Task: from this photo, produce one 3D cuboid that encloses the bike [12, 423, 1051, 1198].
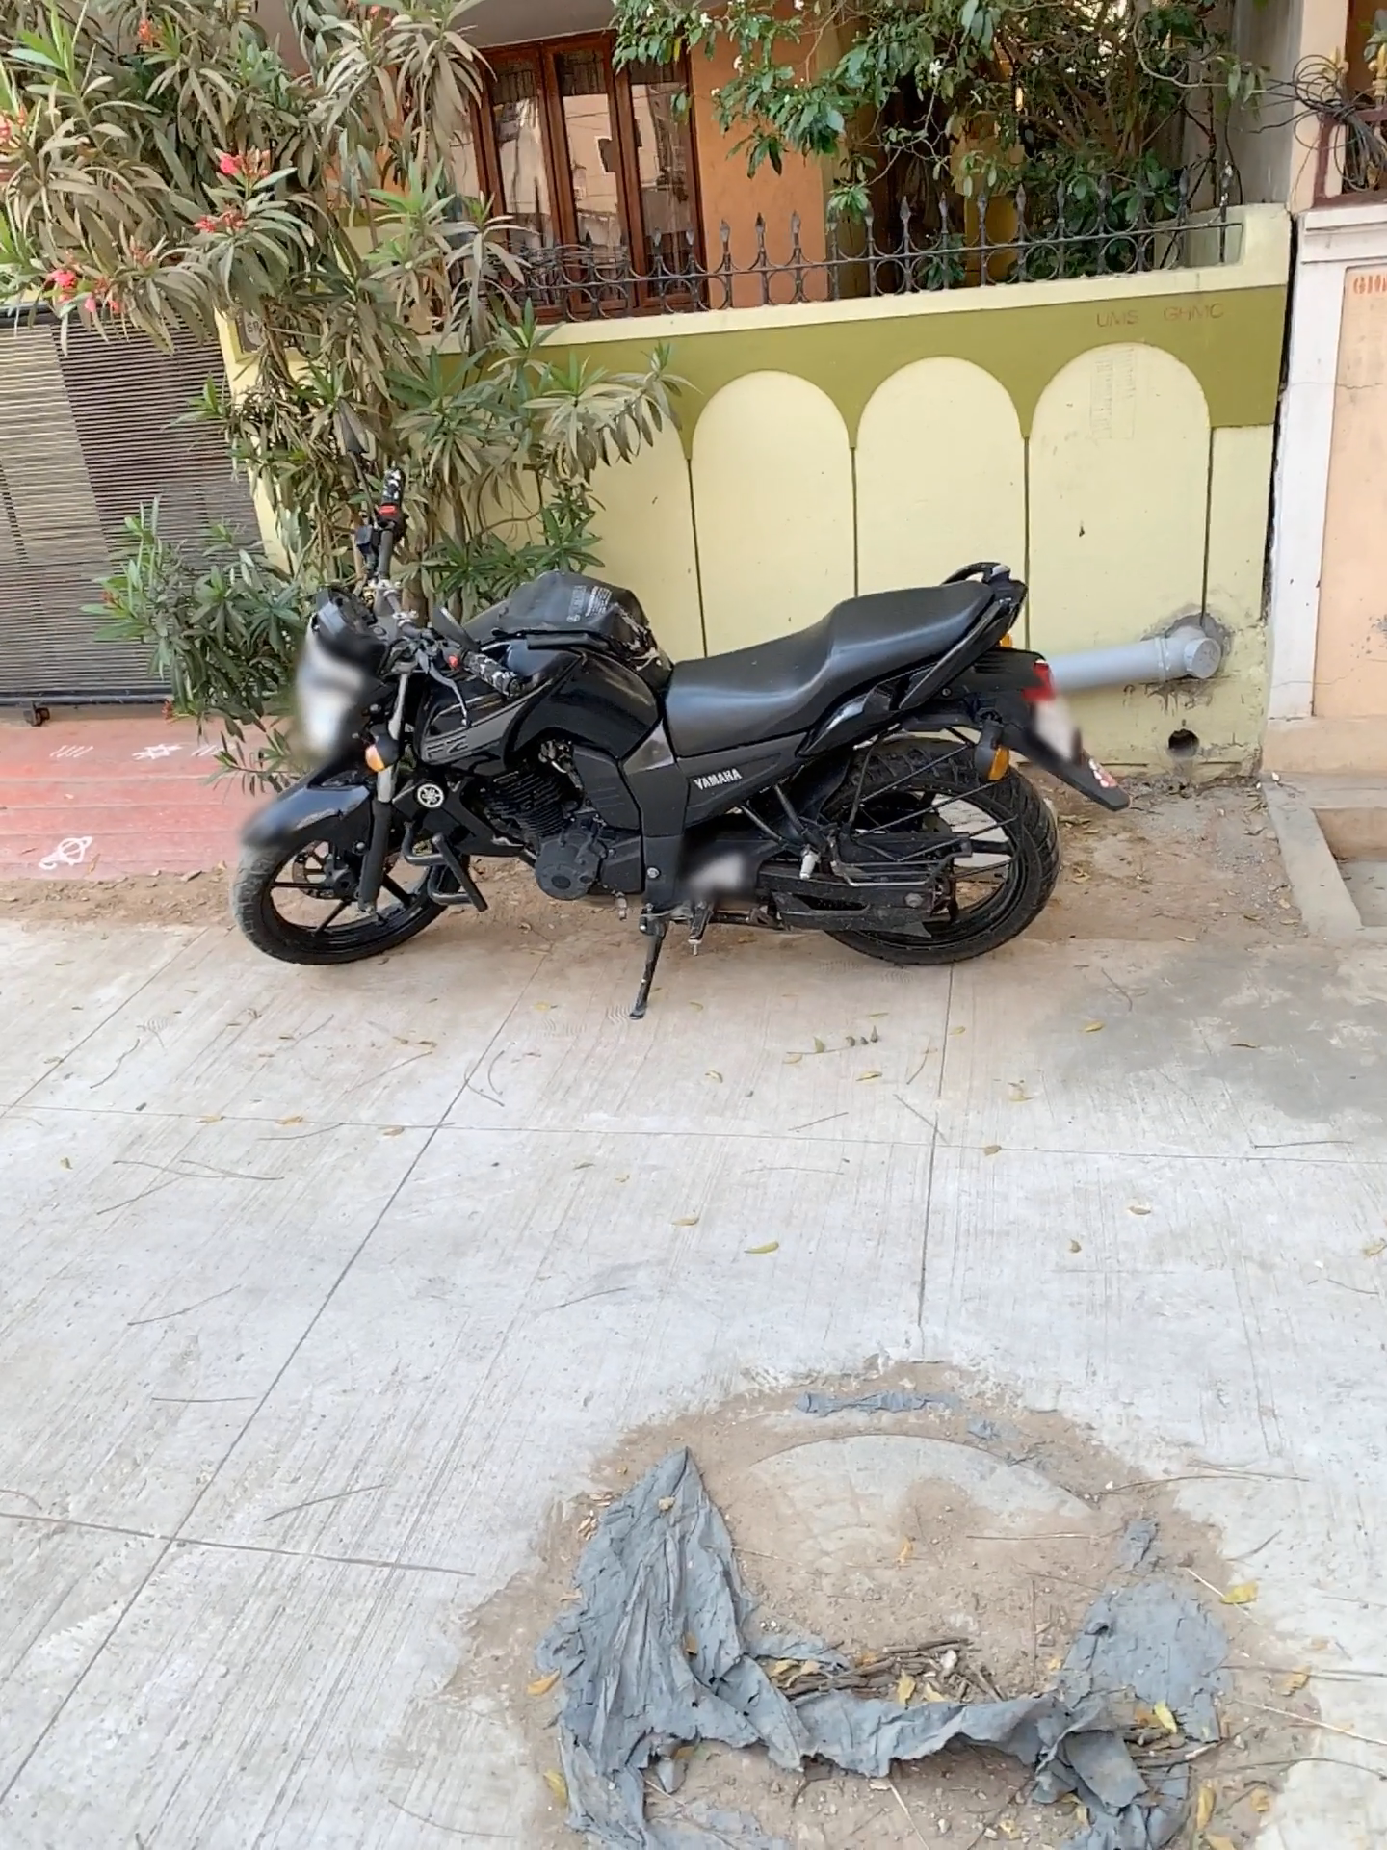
[{"bbox_3d":[-0.186,-0.200,2.727,1.683,1.076,0.749,-5,24,13],"label":"bike"}]
